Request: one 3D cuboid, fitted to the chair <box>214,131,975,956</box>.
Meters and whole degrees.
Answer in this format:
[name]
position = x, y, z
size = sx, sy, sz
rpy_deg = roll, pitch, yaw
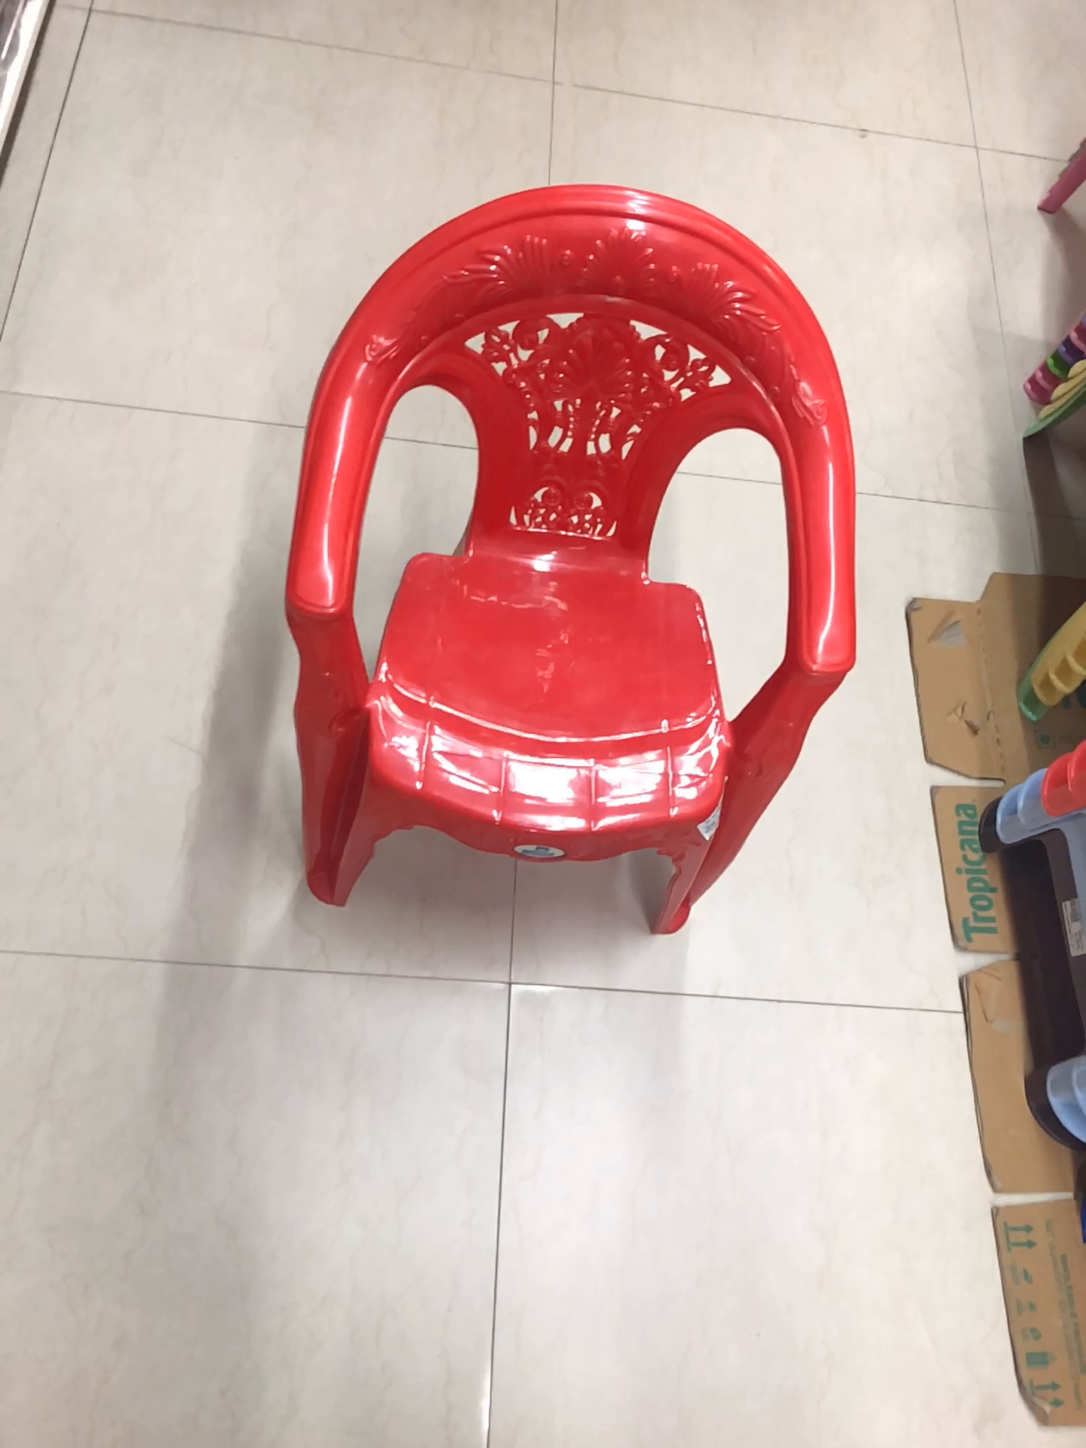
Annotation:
[chair]
position = 0.007, -0.075, 0.906
size = 0.390, 0.508, 0.371
rpy_deg = 6, 67, -6
